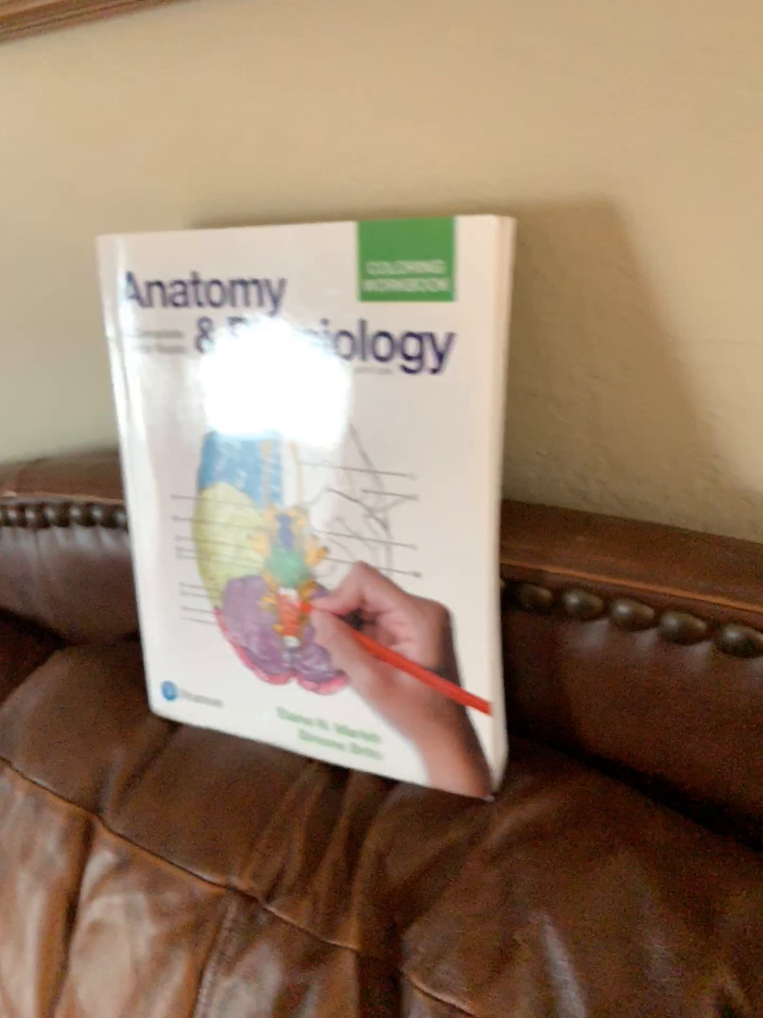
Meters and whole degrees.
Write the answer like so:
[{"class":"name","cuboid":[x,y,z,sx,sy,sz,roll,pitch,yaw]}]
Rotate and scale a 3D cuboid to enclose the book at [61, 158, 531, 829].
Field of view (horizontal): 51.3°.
[{"class":"book","cuboid":[-0.040,-0.007,0.406,0.220,0.289,0.060,5,17,27]}]
